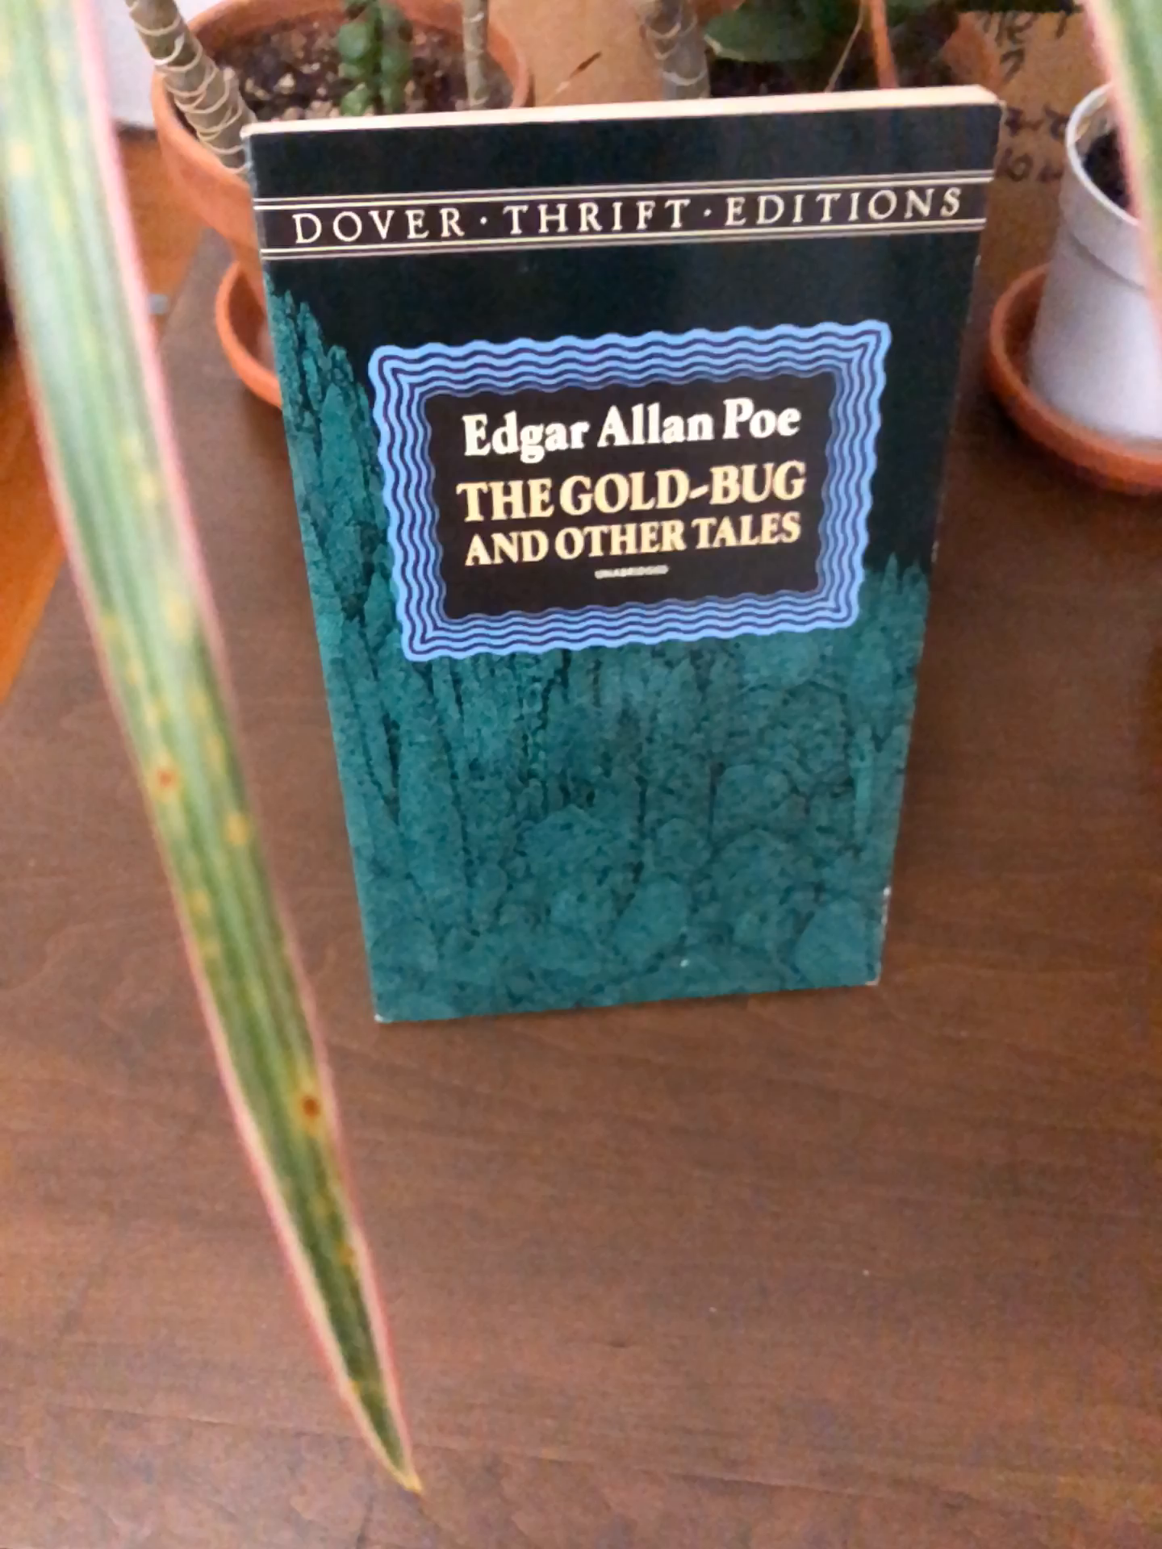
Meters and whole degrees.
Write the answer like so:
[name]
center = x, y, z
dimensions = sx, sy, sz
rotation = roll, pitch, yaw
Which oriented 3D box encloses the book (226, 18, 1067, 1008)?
[book]
center = 0.014, -0.039, 0.281
dimensions = 0.140, 0.209, 0.020
rotation = -4, 34, -4
